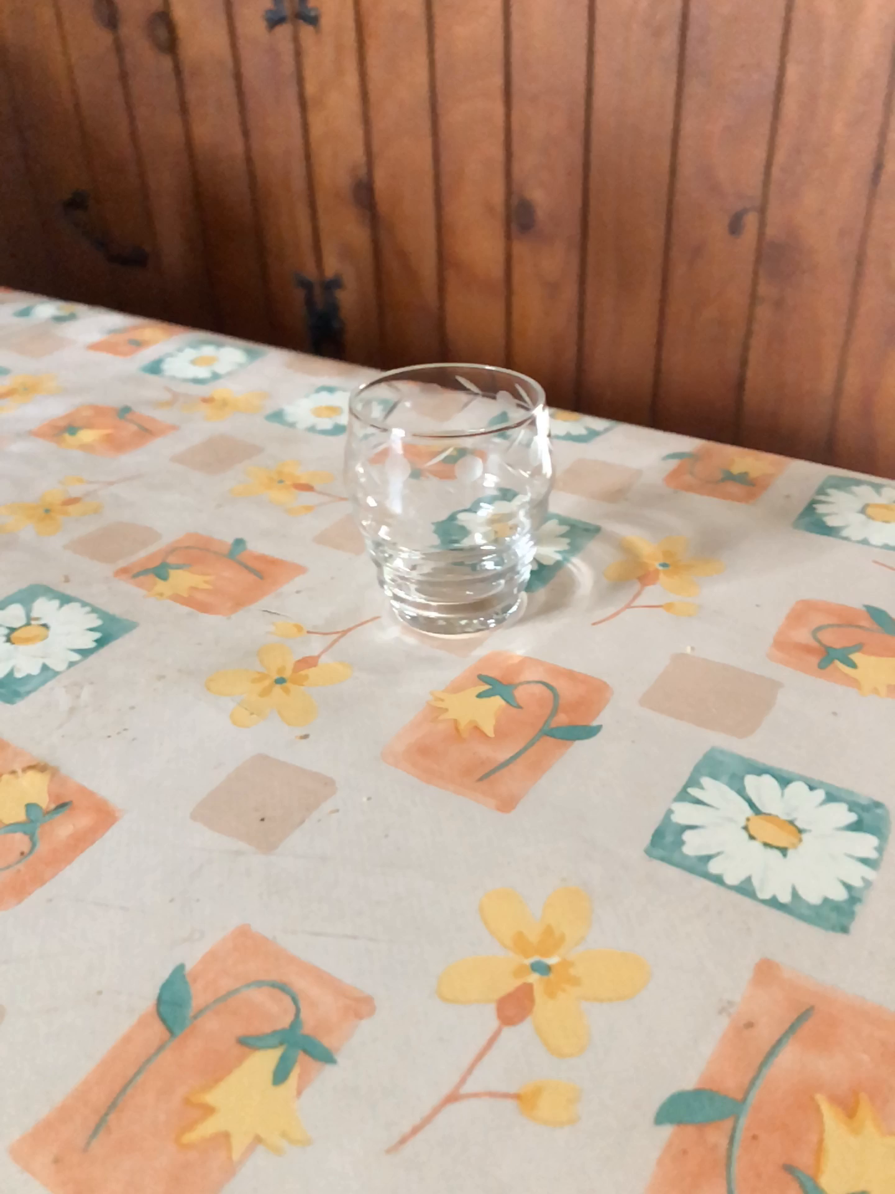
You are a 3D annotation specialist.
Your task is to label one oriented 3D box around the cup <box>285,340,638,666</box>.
[{"bbox_3d":[0.004,-0.028,0.251,0.060,0.050,0.060,-1,31,0],"label":"cup"}]
